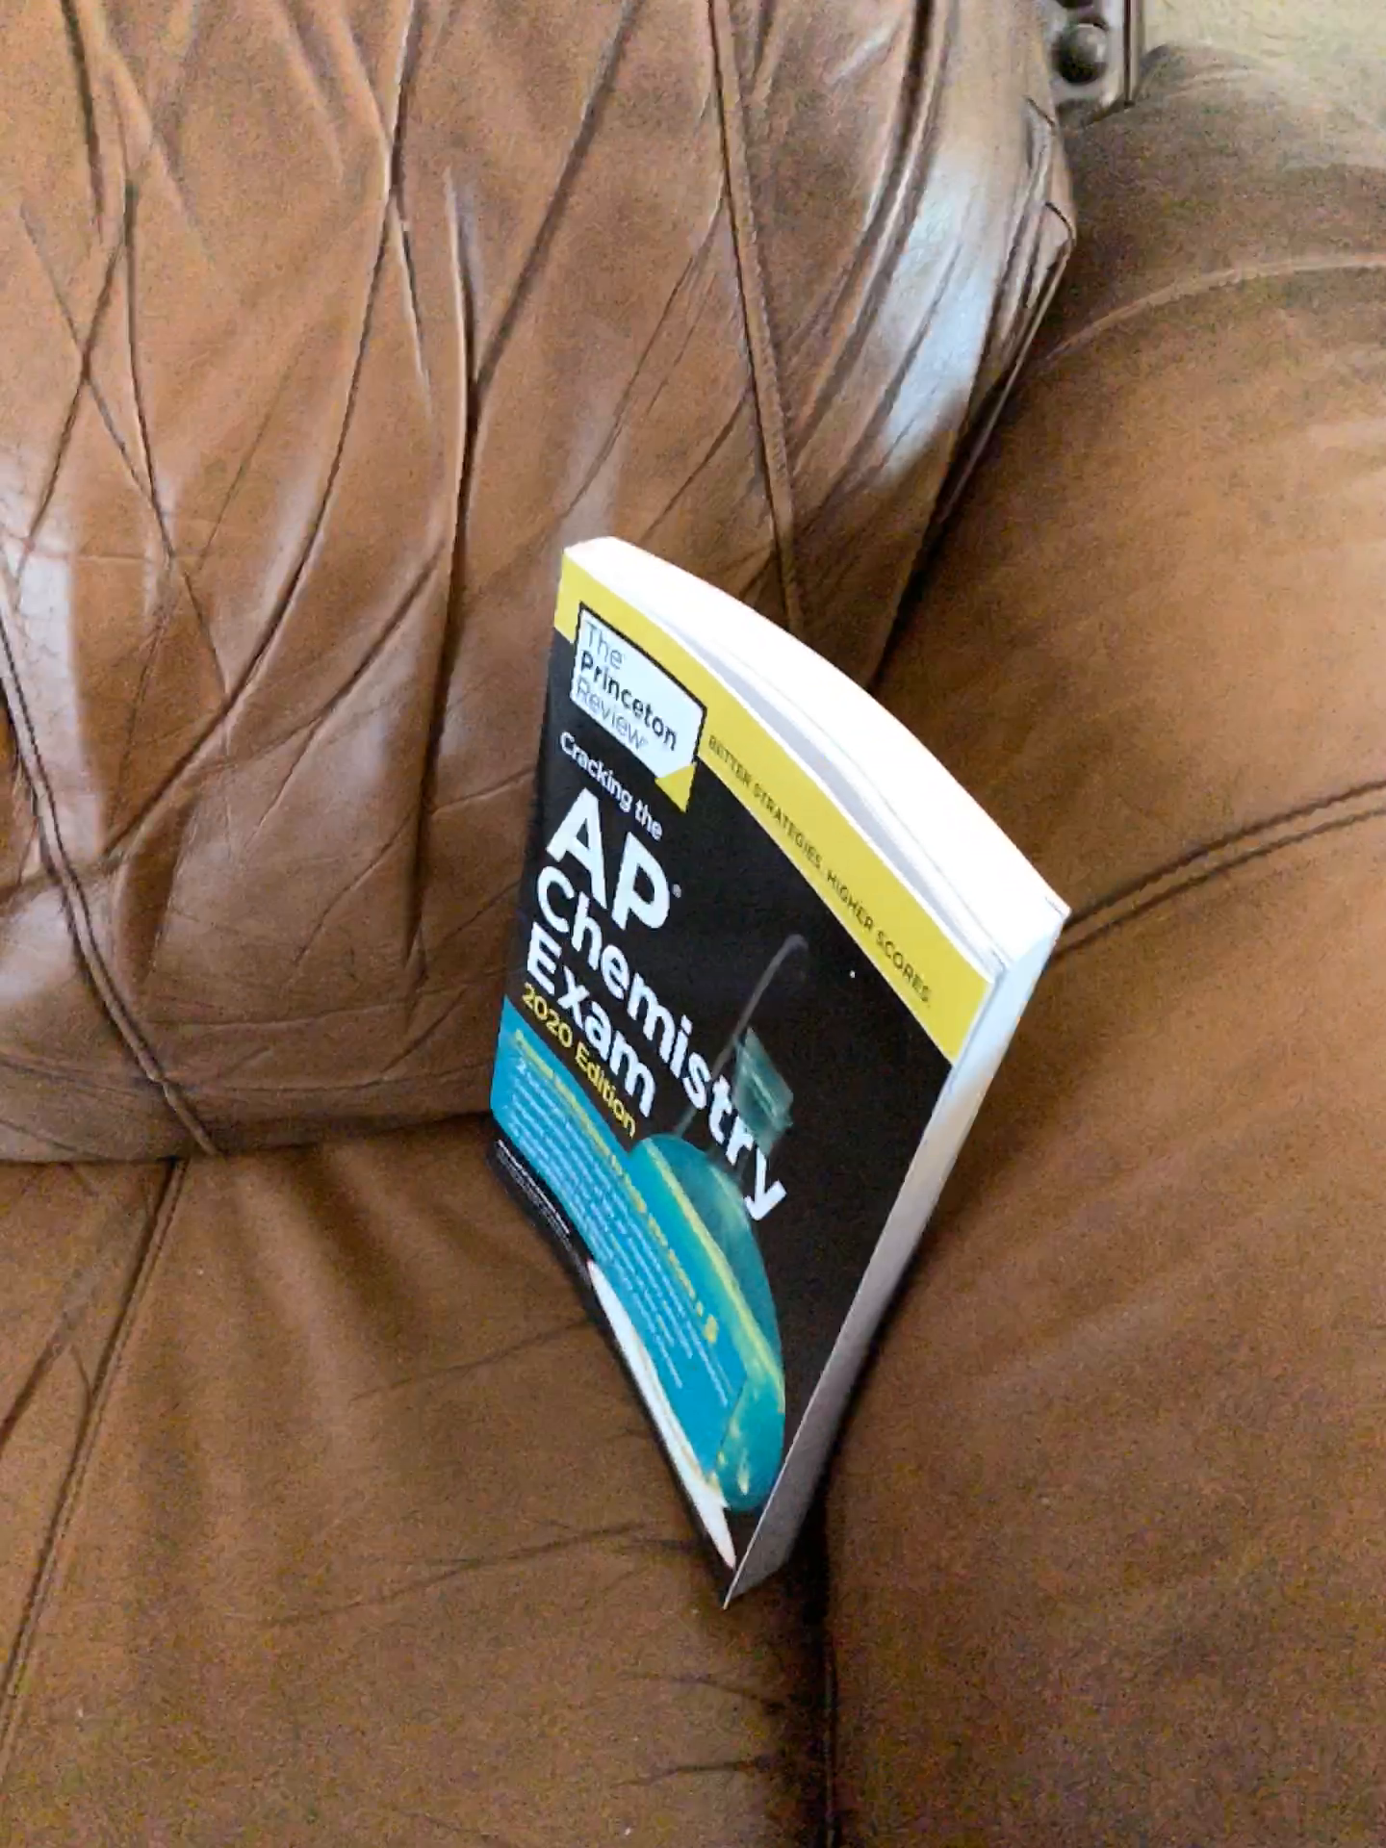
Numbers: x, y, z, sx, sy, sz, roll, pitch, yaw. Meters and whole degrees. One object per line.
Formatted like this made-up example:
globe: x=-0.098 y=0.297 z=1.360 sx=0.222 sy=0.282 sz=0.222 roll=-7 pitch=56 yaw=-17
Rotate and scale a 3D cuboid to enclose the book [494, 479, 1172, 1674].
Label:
book: x=0.005 y=0.061 z=0.464 sx=0.040 sy=0.319 sz=0.241 roll=-18 pitch=48 yaw=-25
